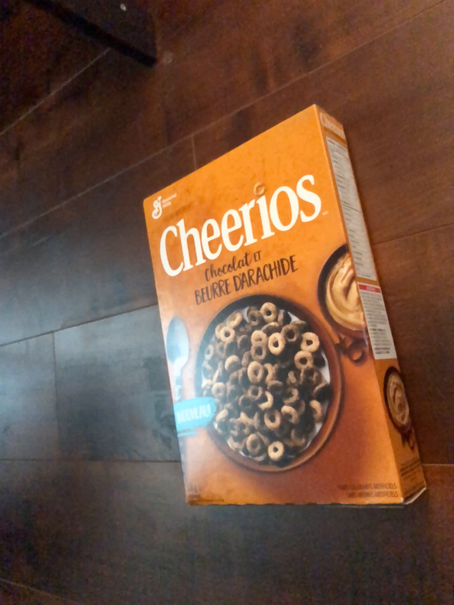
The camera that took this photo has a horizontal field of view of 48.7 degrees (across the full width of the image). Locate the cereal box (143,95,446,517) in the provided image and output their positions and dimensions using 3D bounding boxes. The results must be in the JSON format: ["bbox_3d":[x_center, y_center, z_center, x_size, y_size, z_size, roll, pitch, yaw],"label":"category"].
[{"bbox_3d":[0.037,0.017,0.429,0.201,0.060,0.300,-19,76,38],"label":"cereal box"}]
